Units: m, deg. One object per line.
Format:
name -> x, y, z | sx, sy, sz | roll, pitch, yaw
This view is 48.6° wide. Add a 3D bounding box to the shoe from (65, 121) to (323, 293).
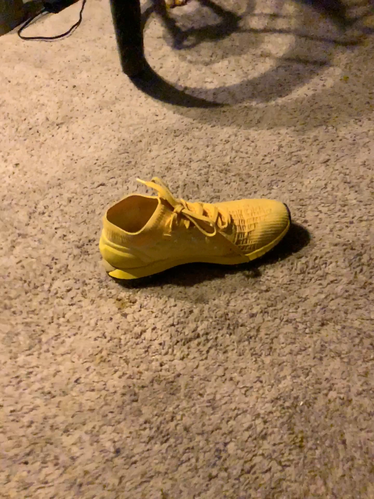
shoe -> 0.011, -0.056, 0.593 | 0.320, 0.130, 0.130 | -11, 49, 6
